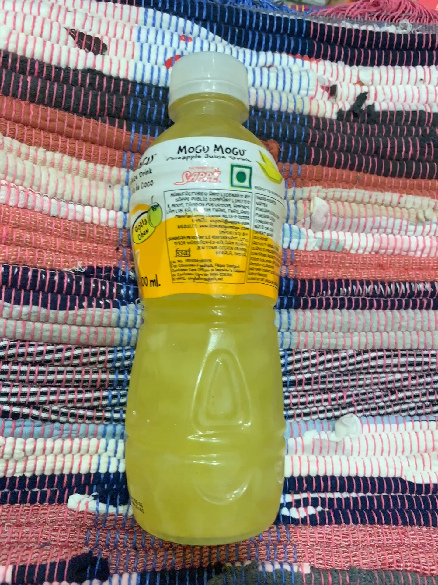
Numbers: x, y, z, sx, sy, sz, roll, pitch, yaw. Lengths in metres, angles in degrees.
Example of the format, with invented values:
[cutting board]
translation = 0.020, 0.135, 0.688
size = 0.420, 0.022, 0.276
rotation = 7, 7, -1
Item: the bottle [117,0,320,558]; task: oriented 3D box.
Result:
[bottle]
translation = -0.007, -0.016, 0.173
size = 0.060, 0.050, 0.190
rotation = 1, 80, -12
